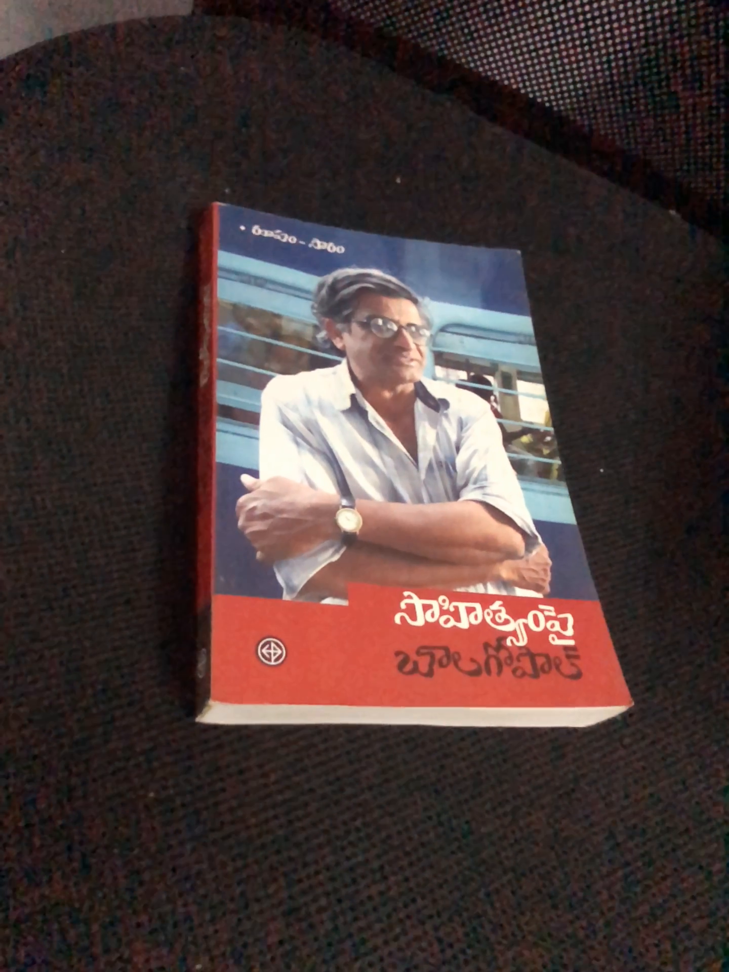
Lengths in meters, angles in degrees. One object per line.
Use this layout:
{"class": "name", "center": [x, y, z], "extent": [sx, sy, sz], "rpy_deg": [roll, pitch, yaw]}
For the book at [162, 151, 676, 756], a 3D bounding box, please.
{"class": "book", "center": [0.010, -0.021, 0.296], "extent": [0.152, 0.030, 0.225], "rpy_deg": [6, 56, -19]}
